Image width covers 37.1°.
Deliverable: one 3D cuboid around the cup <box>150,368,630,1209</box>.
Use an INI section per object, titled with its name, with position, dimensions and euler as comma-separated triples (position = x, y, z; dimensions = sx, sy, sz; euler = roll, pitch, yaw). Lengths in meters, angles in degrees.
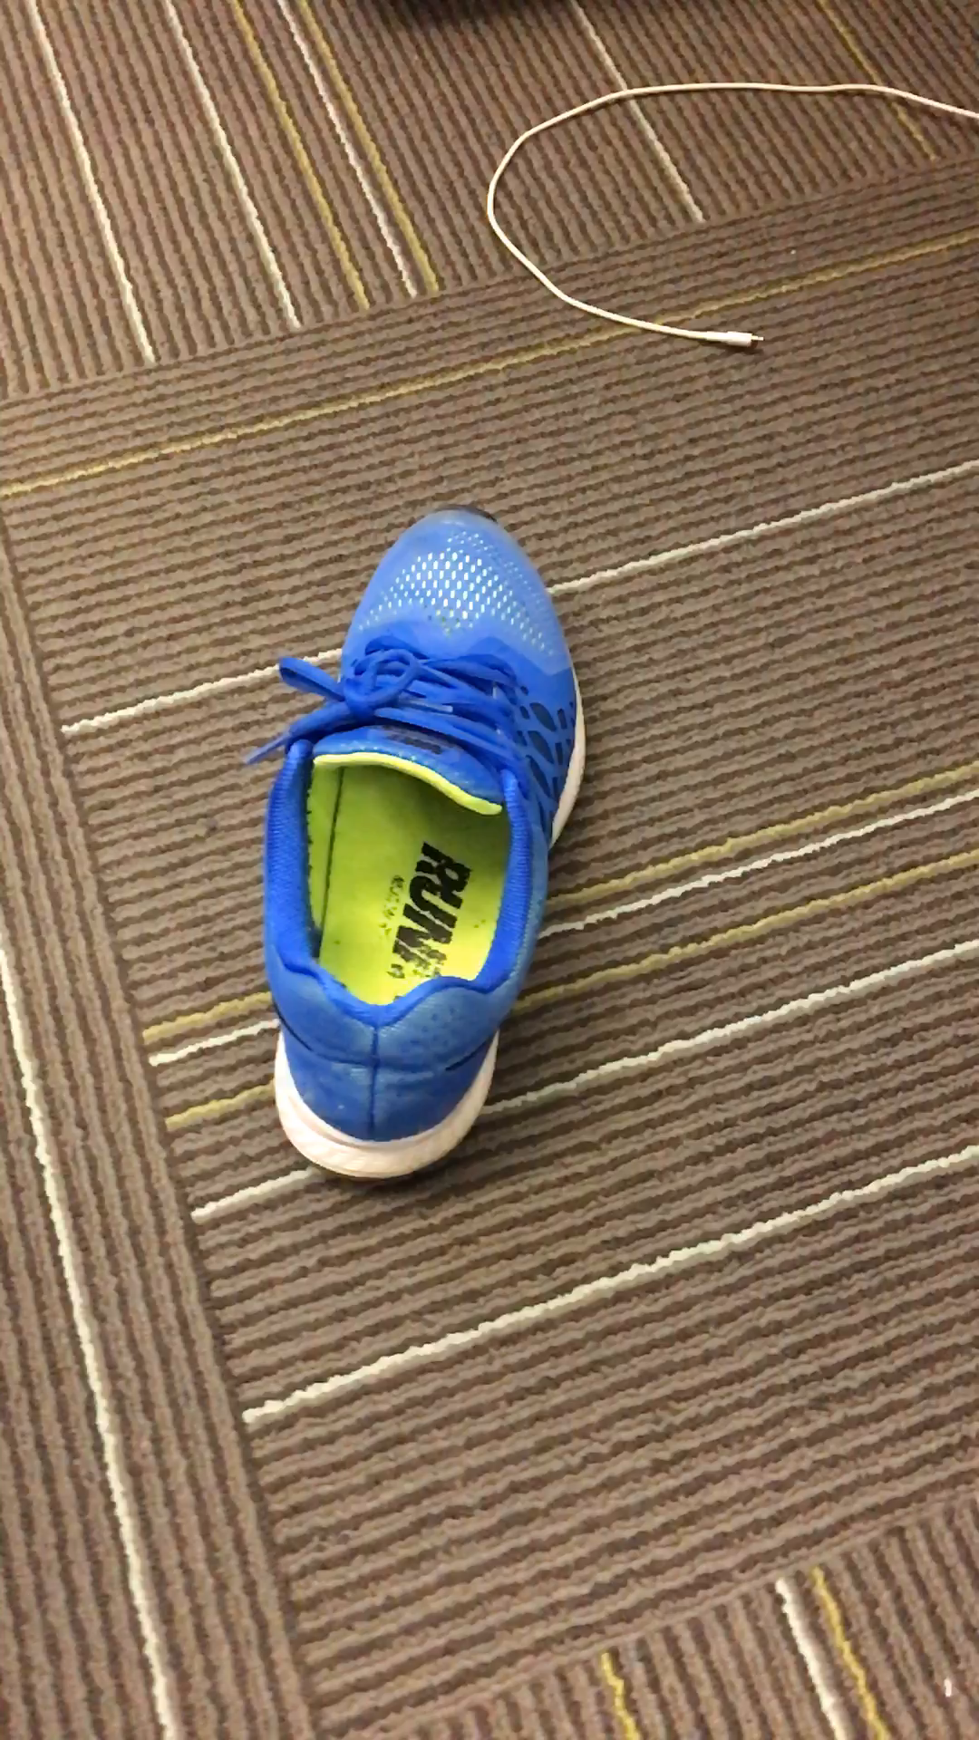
[cup]
position = -0.024, -0.038, 0.555
dimensions = 0.130, 0.100, 0.300
euler = 5, 64, 3
